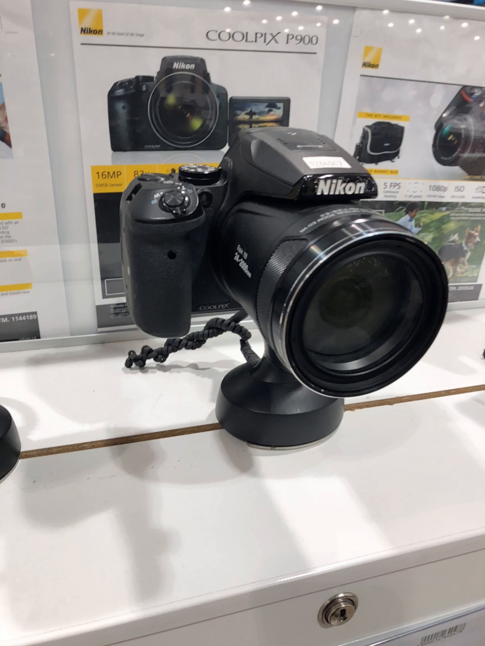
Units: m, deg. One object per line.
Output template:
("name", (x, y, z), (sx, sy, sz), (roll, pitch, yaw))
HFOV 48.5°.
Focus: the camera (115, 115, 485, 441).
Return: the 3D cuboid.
("camera", (0.020, -0.042, 0.270), (0.140, 0.100, 0.161), (-6, 26, -19))
